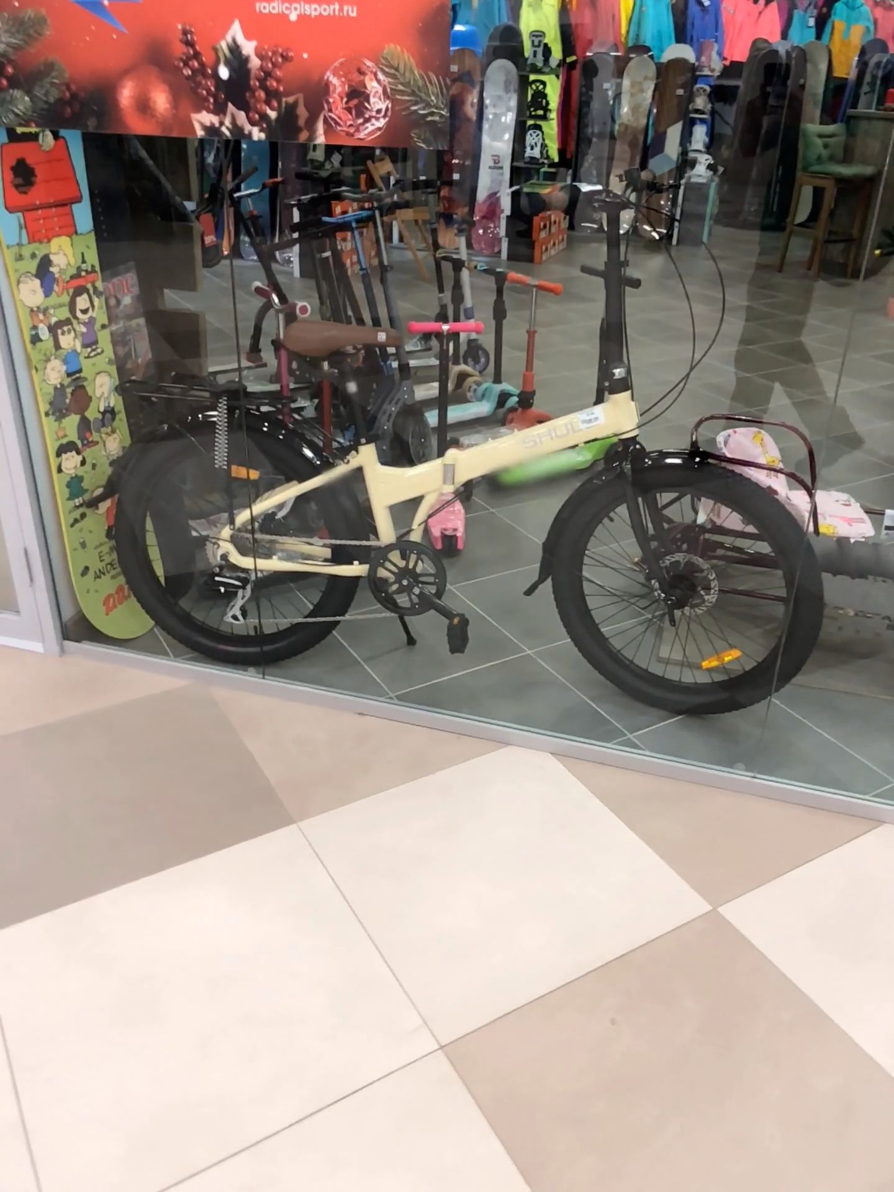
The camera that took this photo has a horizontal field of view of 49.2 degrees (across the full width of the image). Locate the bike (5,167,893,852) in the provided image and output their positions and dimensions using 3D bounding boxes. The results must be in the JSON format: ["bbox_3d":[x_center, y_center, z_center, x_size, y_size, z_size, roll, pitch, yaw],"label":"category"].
[{"bbox_3d":[-0.003,-0.257,2.194,1.703,1.174,0.596,8,27,11],"label":"bike"}]
